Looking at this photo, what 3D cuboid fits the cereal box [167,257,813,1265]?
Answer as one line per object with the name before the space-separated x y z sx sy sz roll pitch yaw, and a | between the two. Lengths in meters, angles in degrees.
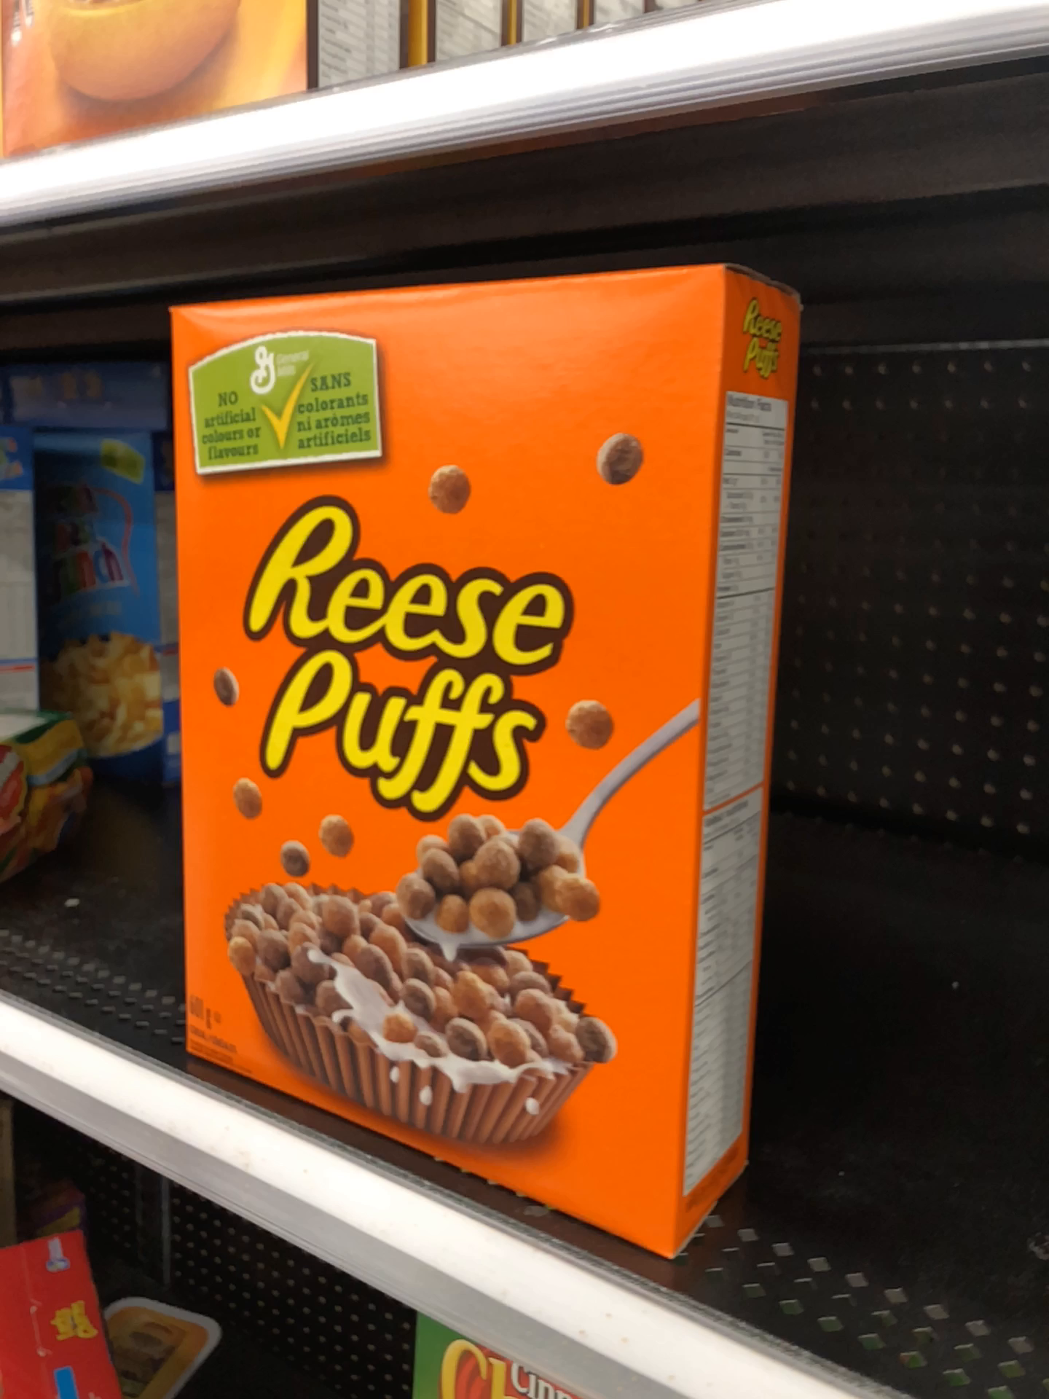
cereal box | -0.026 0.011 0.455 0.240 0.319 0.070 8 11 32
